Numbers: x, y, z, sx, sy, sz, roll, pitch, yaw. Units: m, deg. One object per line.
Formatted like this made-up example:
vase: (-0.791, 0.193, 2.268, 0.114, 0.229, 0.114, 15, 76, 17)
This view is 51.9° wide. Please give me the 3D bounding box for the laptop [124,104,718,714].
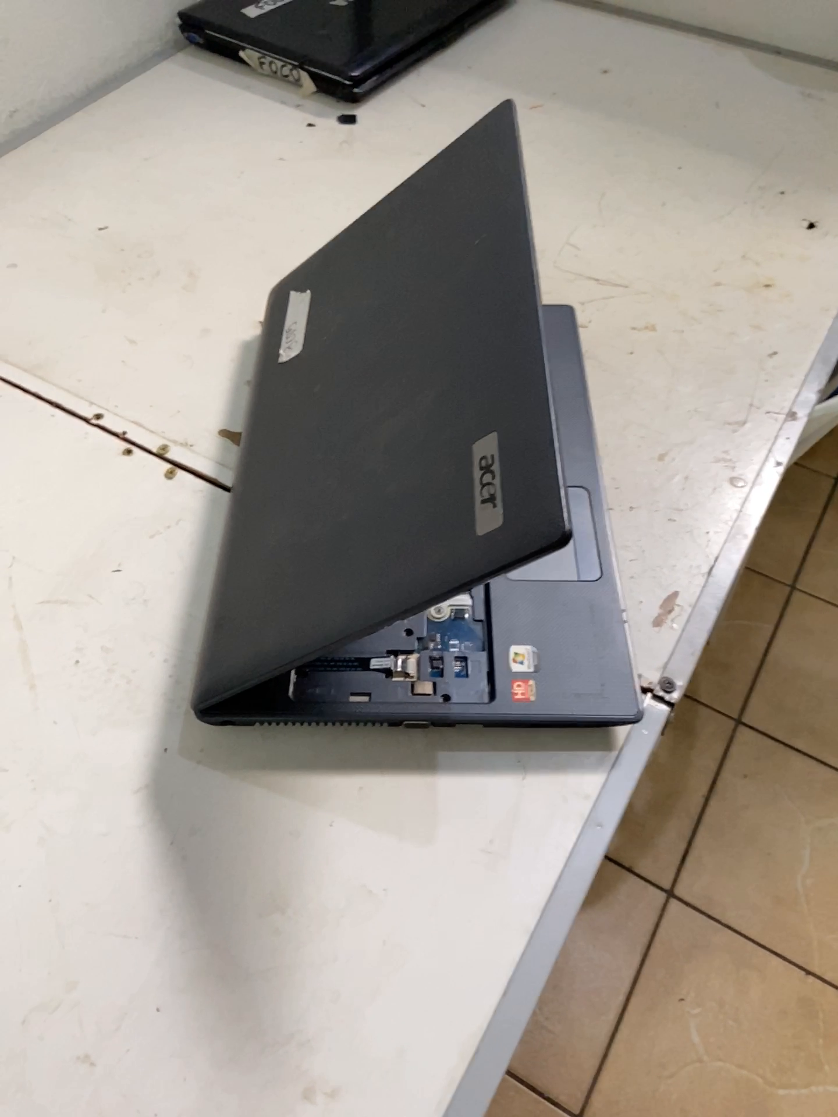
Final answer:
laptop: (0.004, -0.110, 0.522, 0.239, 0.156, 0.371, 1, 52, 0)
